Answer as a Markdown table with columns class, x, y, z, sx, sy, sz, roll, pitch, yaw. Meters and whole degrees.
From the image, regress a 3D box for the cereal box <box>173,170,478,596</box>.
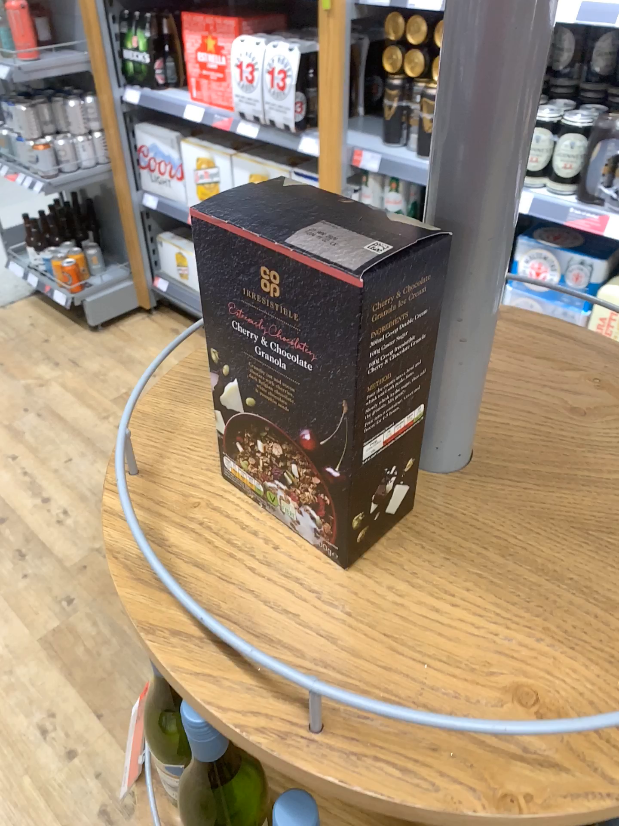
| class | x | y | z | sx | sy | sz | roll | pitch | yaw |
| --- | --- | --- | --- | --- | --- | --- | --- | --- | --- |
| cereal box | 0.007 | -0.018 | 0.408 | 0.141 | 0.218 | 0.090 | 31 | 48 | 34 |
